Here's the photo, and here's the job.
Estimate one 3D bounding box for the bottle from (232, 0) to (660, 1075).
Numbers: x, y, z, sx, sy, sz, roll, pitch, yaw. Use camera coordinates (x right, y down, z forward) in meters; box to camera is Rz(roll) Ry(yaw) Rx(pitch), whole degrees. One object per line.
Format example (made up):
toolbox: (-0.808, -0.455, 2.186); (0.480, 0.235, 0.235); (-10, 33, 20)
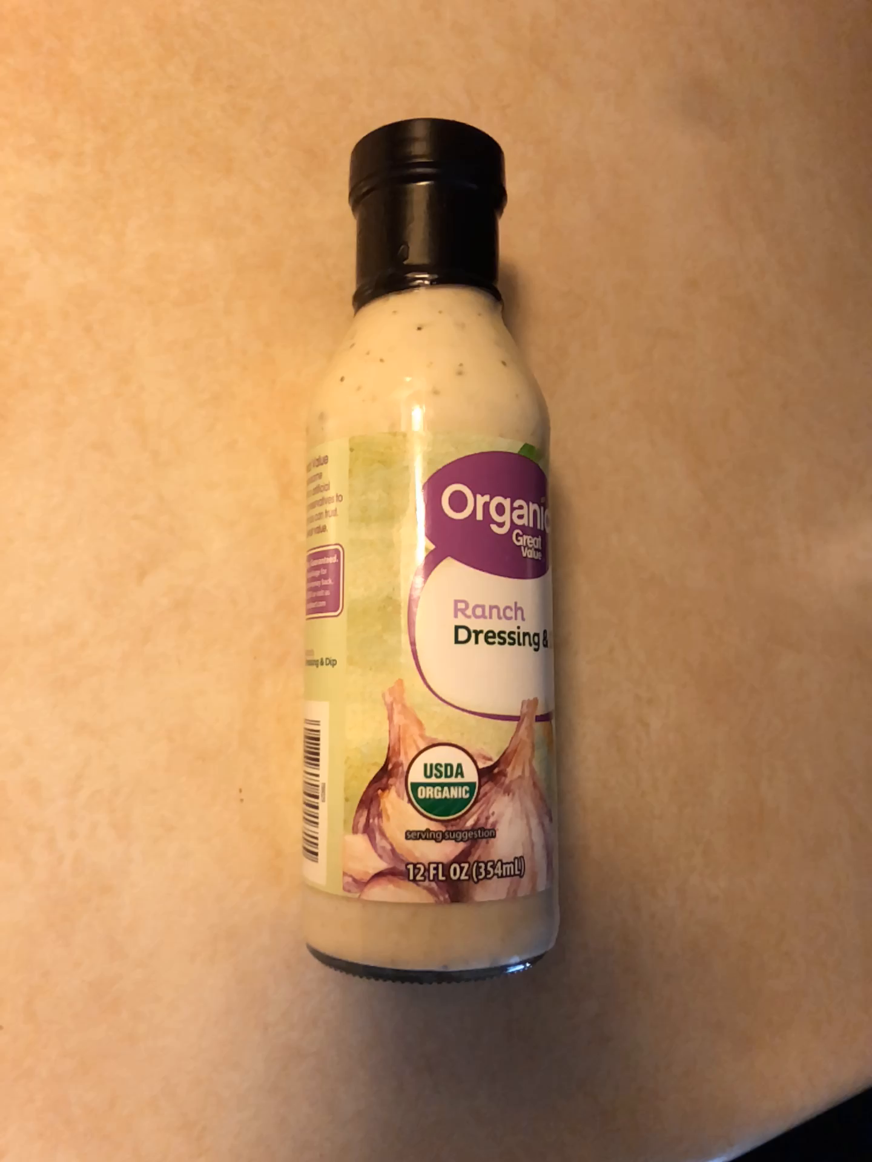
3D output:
bottle: (0.000, -0.018, 0.238); (0.070, 0.060, 0.230); (5, 78, -47)
